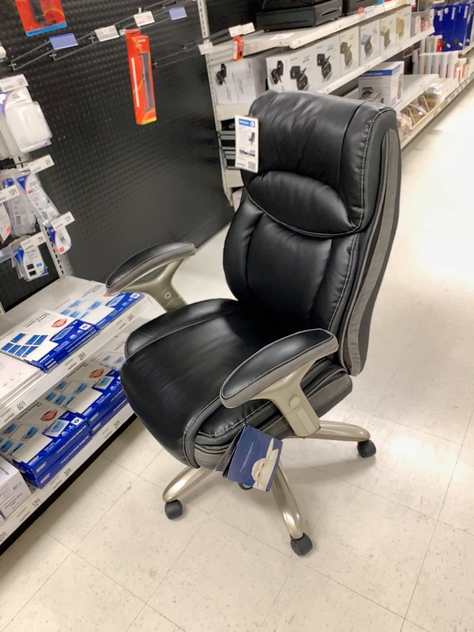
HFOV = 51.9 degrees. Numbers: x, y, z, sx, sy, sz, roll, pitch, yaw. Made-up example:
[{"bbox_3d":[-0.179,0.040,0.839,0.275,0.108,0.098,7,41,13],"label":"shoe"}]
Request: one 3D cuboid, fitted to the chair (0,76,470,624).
[{"bbox_3d":[0.006,0.031,1.351,0.741,1.094,0.743,-28,39,-26],"label":"chair"}]
